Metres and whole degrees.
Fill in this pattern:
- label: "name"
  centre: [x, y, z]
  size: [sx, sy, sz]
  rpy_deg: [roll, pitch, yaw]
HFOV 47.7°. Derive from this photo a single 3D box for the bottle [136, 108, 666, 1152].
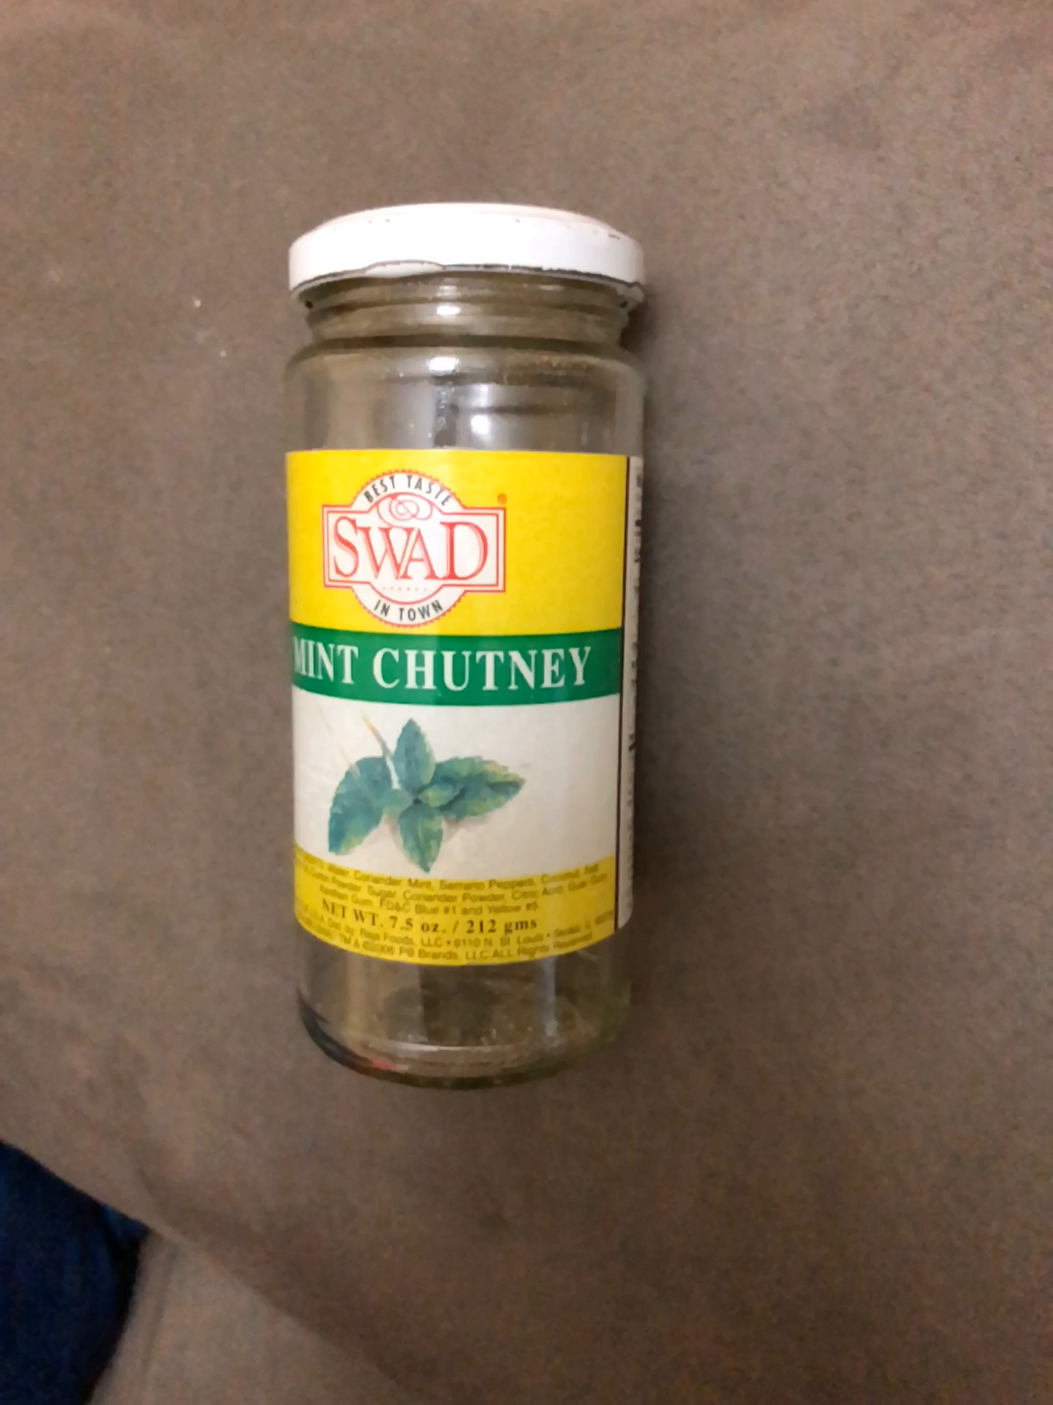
- label: "bottle"
  centre: [-0.016, -0.011, 0.194]
  size: [0.060, 0.059, 0.137]
  rpy_deg: [4, 100, 22]
